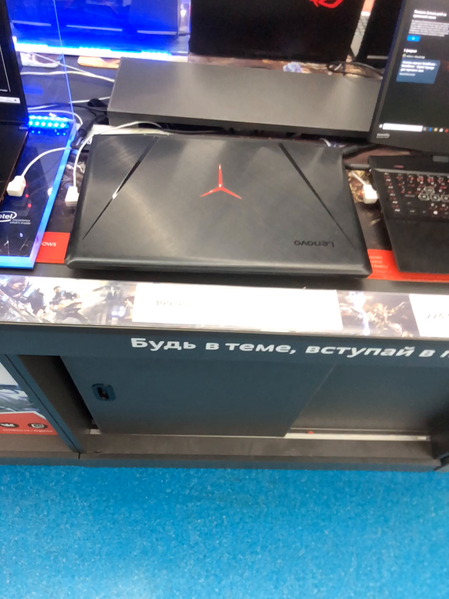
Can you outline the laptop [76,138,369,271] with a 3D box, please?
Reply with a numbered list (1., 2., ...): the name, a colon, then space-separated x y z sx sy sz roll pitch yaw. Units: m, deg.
1. laptop: -0.002 -0.153 0.756 0.399 0.005 0.270 1 52 -5
